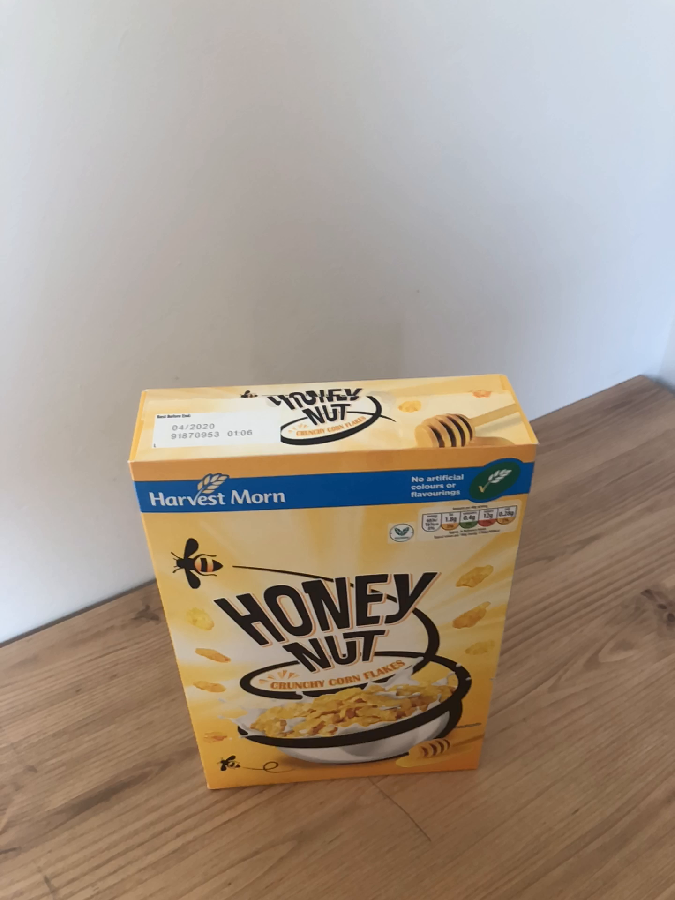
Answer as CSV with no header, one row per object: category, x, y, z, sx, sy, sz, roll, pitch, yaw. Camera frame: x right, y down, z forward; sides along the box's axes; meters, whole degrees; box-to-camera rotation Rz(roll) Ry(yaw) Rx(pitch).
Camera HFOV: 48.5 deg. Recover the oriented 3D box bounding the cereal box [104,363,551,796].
cereal box,-0.002,0.097,0.450,0.200,0.298,0.060,-3,38,-2
